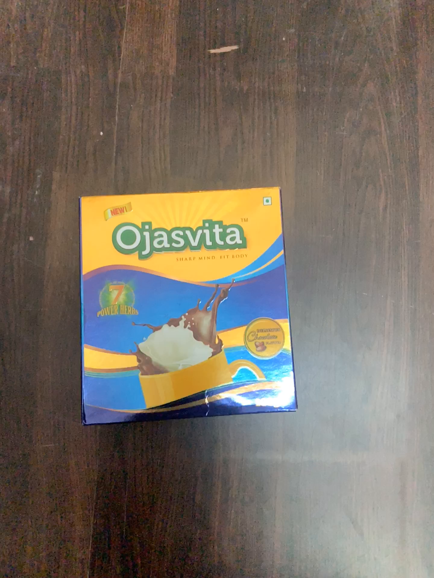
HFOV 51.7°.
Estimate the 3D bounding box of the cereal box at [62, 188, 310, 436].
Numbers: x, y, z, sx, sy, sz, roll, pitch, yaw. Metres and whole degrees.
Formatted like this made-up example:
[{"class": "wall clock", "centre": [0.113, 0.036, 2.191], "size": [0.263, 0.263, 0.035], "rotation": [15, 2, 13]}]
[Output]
[{"class": "cereal box", "centre": [-0.022, 0.014, 0.307], "size": [0.150, 0.040, 0.150], "rotation": [-4, 81, -3]}]
